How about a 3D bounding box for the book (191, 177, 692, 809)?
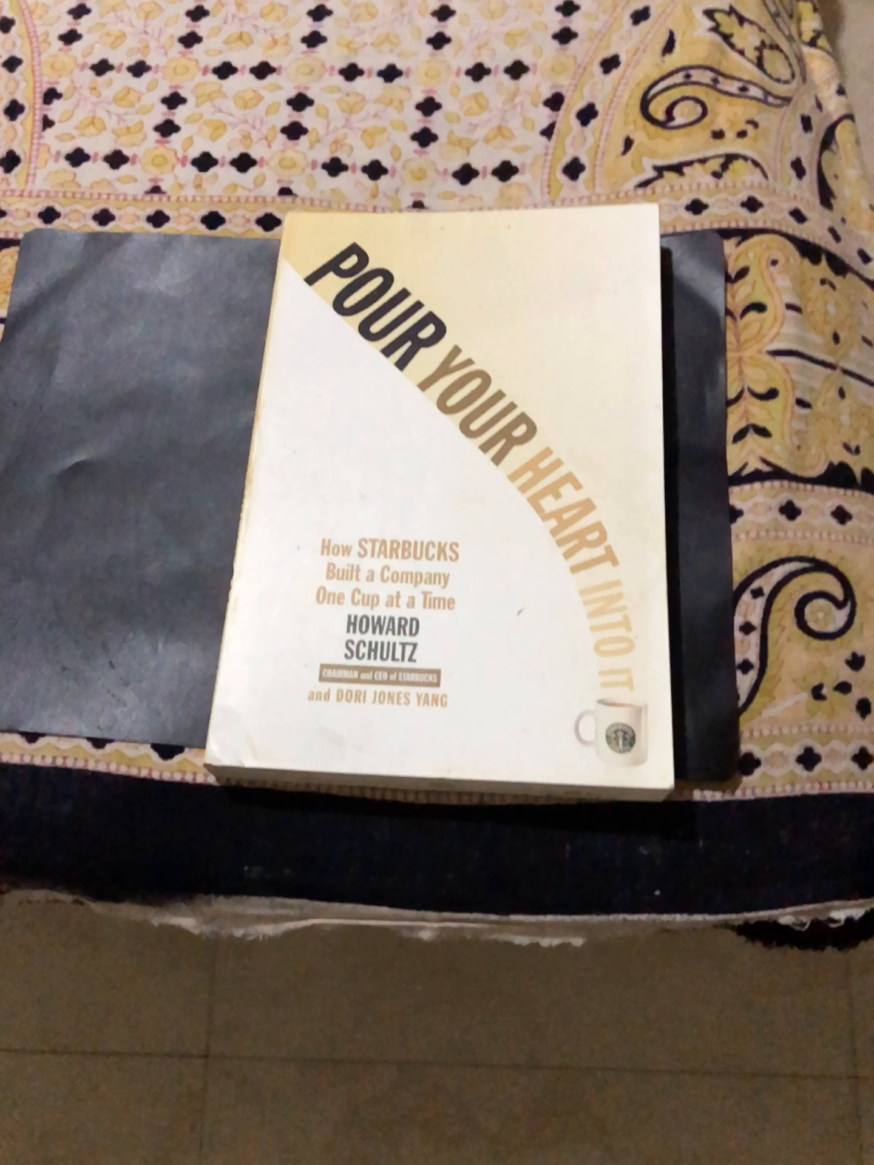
[{"bbox_3d":[0.009,-0.043,0.374,0.160,0.050,0.240,2,69,4],"label":"book"}]
